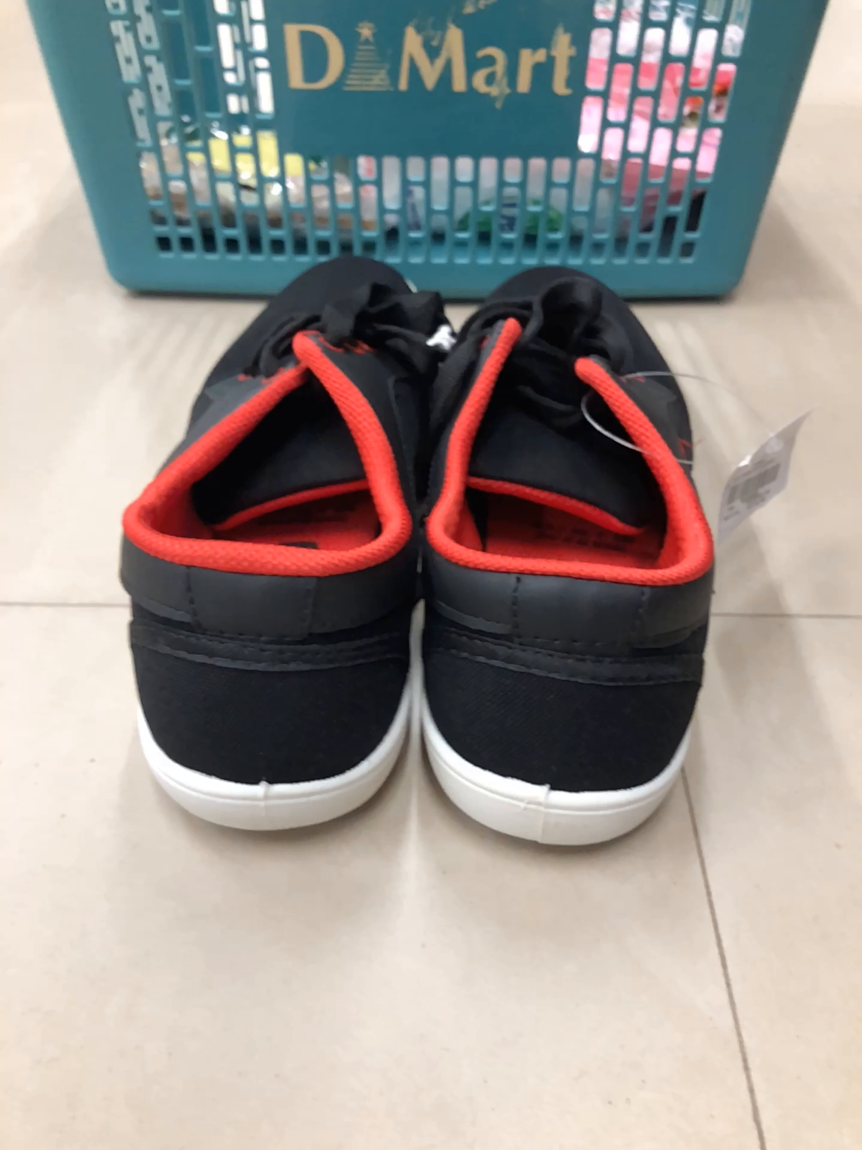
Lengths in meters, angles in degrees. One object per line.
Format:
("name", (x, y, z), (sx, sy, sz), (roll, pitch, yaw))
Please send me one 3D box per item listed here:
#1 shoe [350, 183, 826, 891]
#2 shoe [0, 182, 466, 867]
("shoe", (0.046, -0.038, 0.344), (0.105, 0.102, 0.262), (5, 42, 4))
("shoe", (-0.049, -0.041, 0.345), (0.105, 0.102, 0.262), (0, 42, -2))
